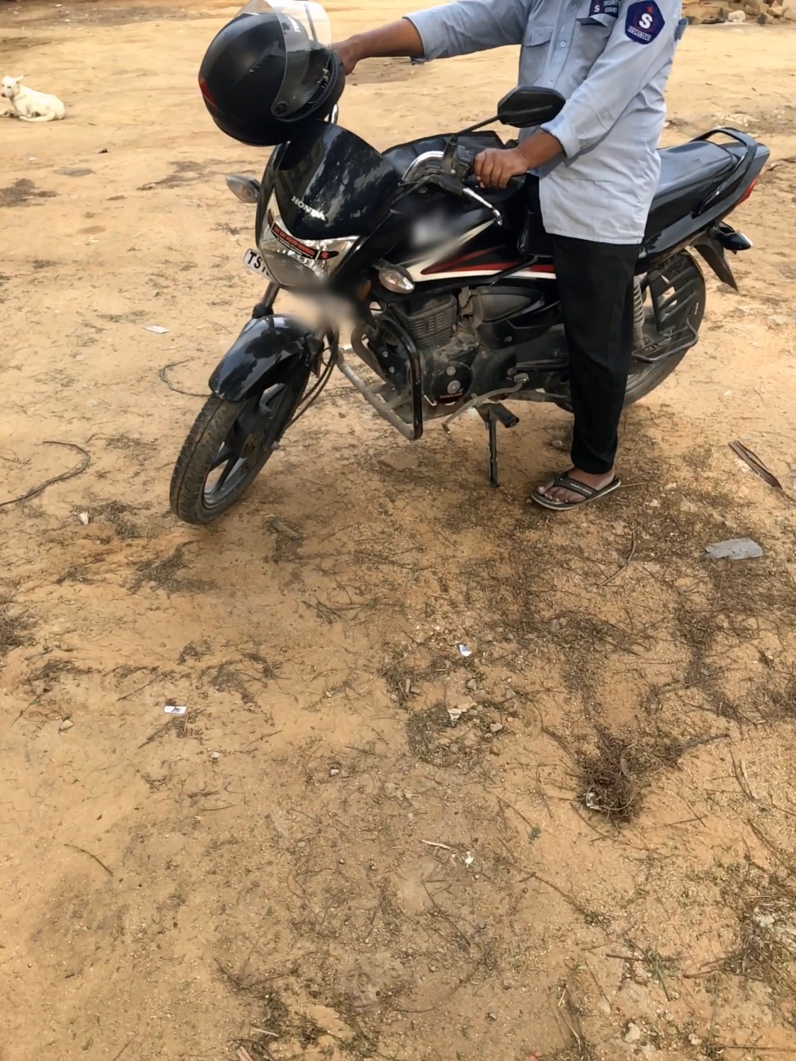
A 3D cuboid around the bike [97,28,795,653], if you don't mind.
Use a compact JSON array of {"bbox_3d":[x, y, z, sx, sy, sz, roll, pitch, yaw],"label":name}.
[{"bbox_3d":[0.206,-0.550,2.157,1.566,0.913,0.671,-21,38,-18],"label":"bike"}]
